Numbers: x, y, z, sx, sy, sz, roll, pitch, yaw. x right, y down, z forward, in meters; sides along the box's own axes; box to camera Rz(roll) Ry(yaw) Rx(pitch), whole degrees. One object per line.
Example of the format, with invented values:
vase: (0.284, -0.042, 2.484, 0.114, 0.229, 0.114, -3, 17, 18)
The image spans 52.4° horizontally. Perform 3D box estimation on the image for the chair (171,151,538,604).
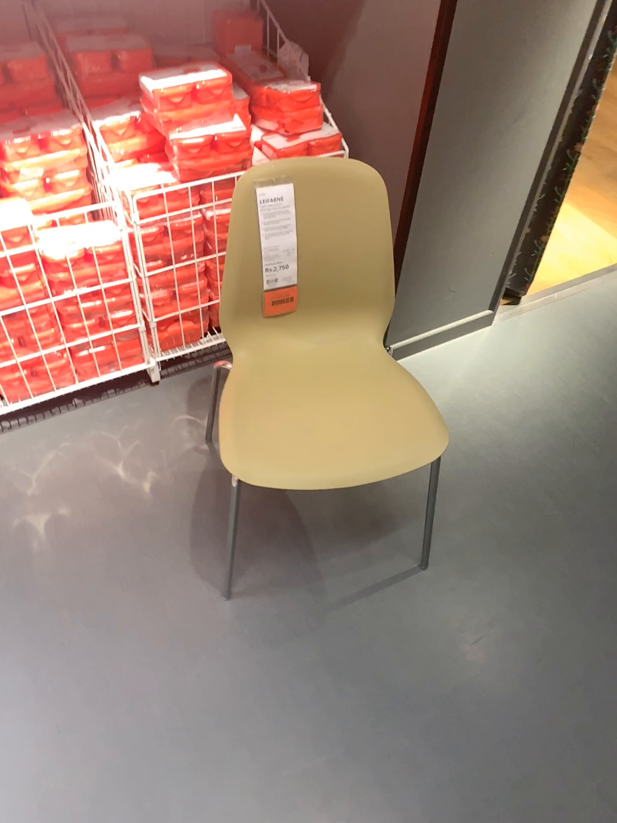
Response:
chair: (0.013, -0.052, 1.307, 0.500, 0.728, 0.552, -5, 49, -9)
